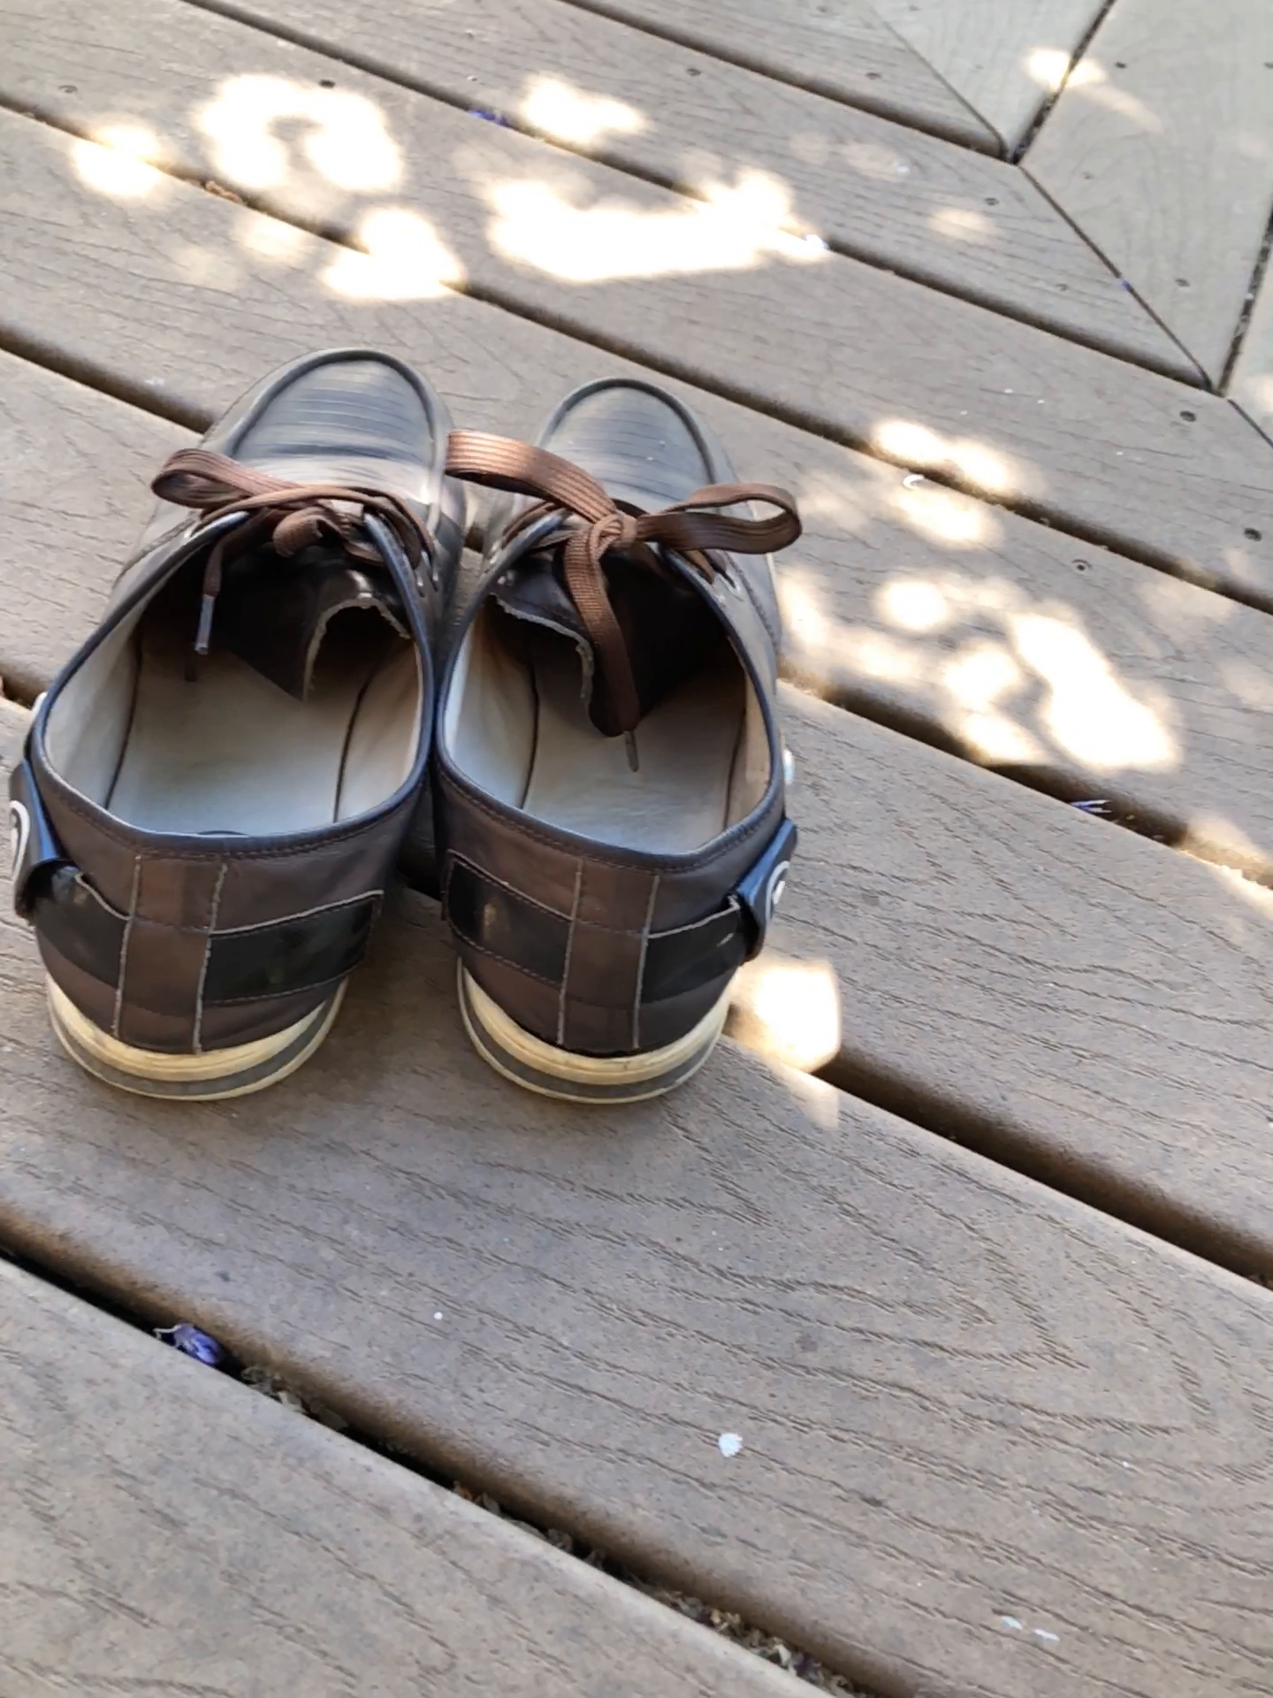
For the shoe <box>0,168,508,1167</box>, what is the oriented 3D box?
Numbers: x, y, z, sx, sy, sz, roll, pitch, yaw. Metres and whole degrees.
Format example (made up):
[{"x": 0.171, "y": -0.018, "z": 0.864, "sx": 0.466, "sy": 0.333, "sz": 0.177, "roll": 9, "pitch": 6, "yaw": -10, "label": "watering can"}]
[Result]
[{"x": -0.110, "y": -0.068, "z": 0.423, "sx": 0.107, "sy": 0.115, "sz": 0.288, "roll": 7, "pitch": 52, "yaw": -7, "label": "shoe"}]

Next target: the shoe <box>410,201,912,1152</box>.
[{"x": 0.003, "y": -0.067, "z": 0.437, "sx": 0.107, "sy": 0.105, "sz": 0.290, "roll": 7, "pitch": 52, "yaw": -7, "label": "shoe"}]
